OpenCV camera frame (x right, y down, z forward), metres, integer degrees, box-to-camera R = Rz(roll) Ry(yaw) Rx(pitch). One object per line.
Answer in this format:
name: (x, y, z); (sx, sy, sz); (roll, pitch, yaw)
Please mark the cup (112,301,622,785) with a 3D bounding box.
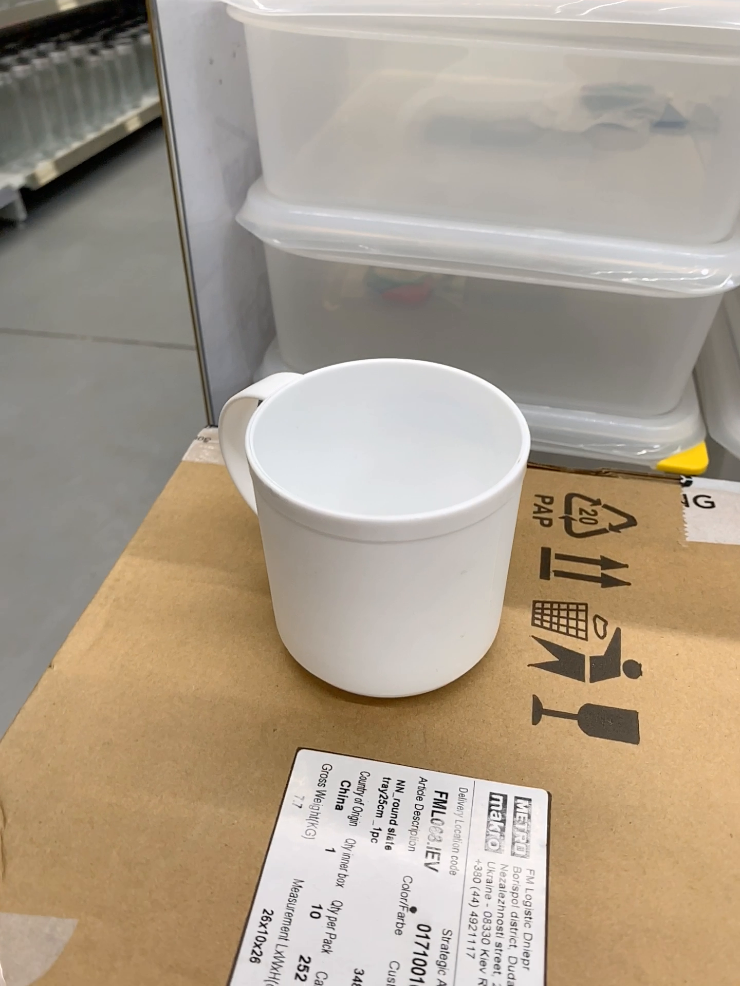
cup: (-0.001, 0.006, 0.231); (0.113, 0.075, 0.080); (26, 46, 29)
